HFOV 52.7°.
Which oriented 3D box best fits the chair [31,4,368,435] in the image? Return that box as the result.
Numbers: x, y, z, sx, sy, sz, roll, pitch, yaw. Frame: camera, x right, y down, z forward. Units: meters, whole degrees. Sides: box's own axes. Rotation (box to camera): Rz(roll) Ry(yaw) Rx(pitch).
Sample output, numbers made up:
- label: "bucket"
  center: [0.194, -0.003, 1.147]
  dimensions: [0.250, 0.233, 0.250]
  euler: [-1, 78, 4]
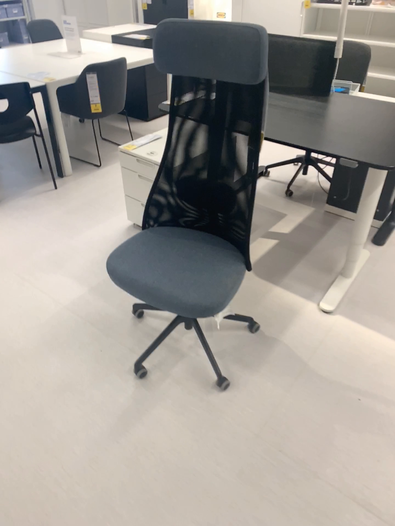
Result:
- label: "chair"
  center: [0.045, -0.164, 1.503]
  dimensions: [0.641, 1.304, 0.732]
  euler: [22, 42, 27]
